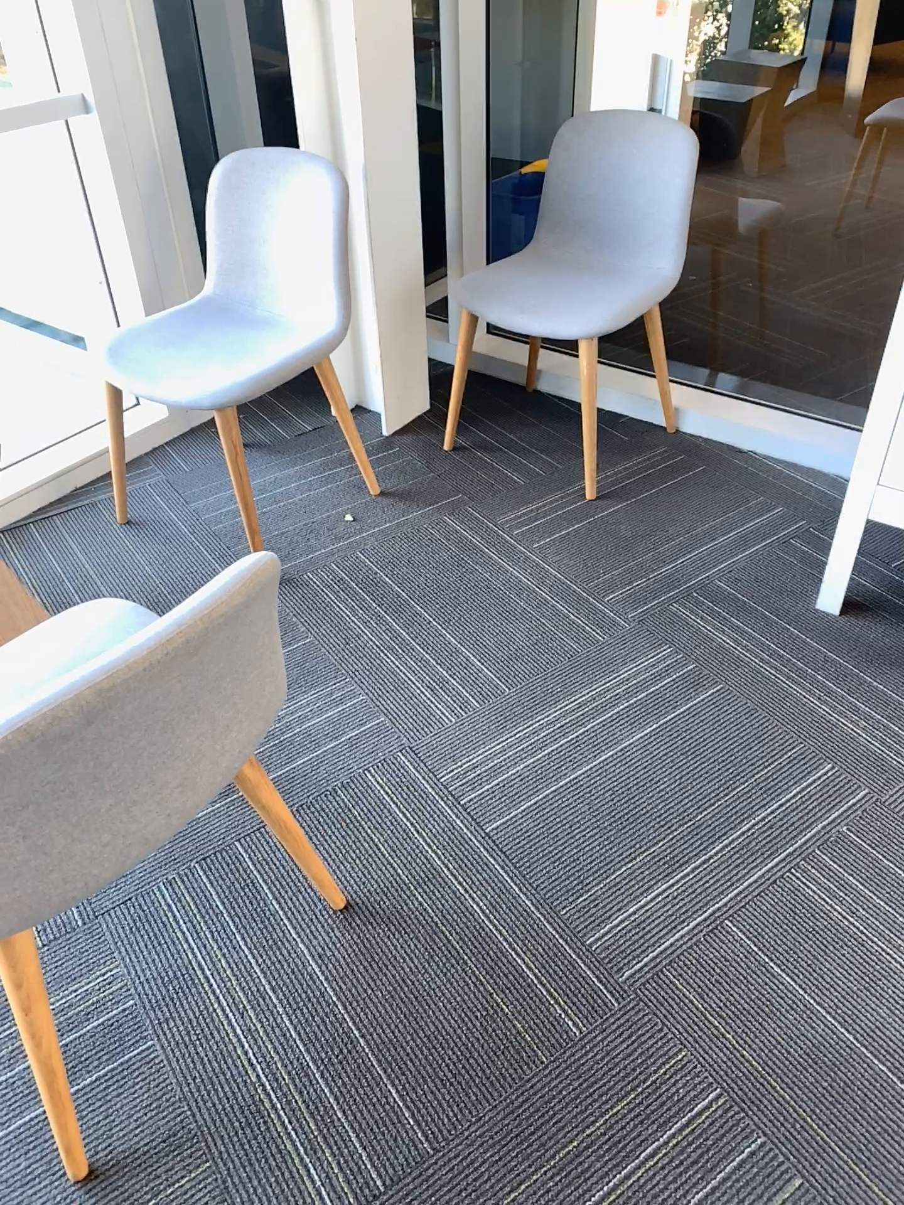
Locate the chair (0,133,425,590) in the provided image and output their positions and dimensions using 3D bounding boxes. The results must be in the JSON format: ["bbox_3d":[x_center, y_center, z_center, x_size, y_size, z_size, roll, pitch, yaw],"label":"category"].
[{"bbox_3d":[-0.510,-0.585,2.142,0.642,0.745,0.602,22,44,26],"label":"chair"}]

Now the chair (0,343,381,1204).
[{"bbox_3d":[-0.524,0.203,1.160,0.602,0.765,0.562,23,45,28],"label":"chair"}]

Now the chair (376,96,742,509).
[{"bbox_3d":[0.268,-0.797,2.383,0.642,0.765,0.602,22,44,26],"label":"chair"}]
